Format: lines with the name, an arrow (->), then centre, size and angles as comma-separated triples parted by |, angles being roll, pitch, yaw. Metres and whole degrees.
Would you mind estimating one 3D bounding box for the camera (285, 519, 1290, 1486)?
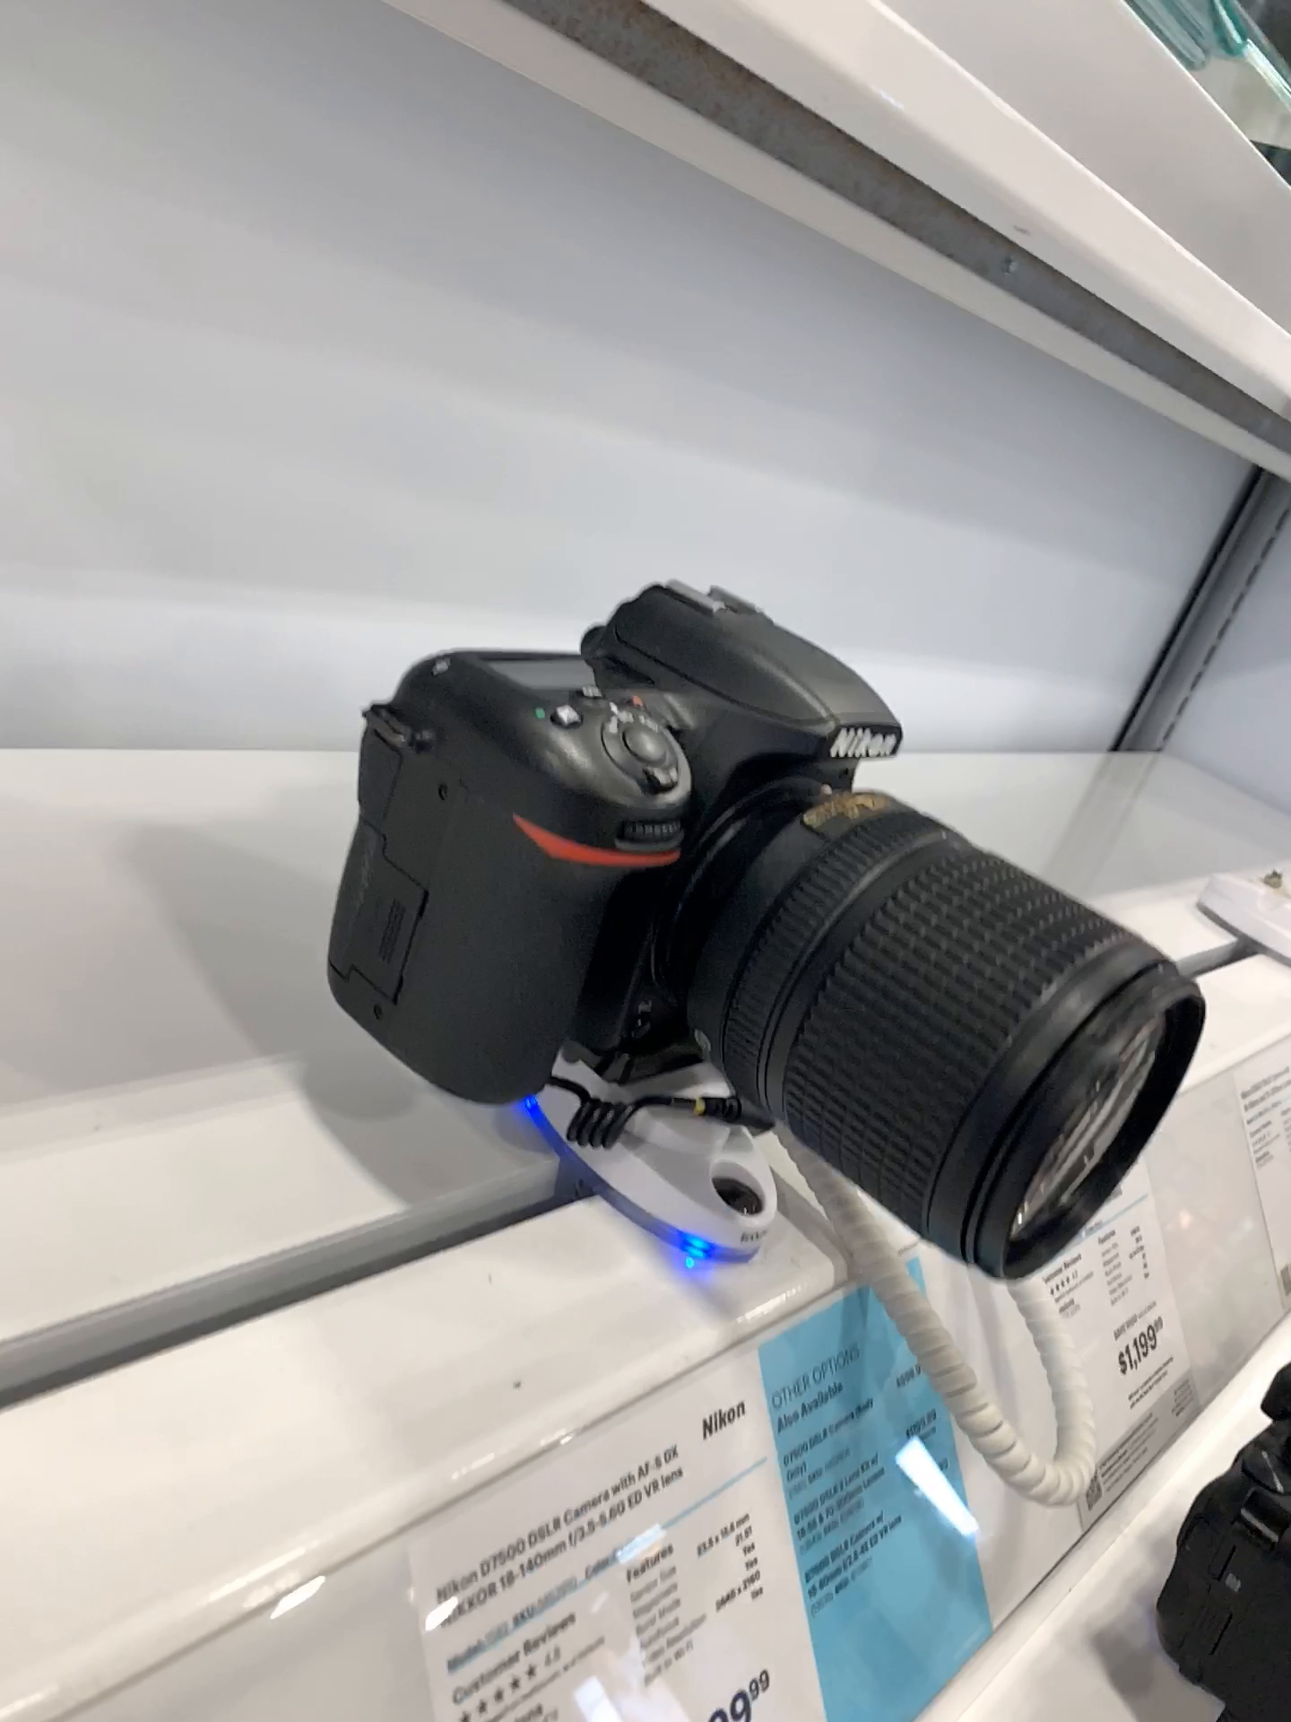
camera -> 0.036, 0.008, 0.291 | 0.172, 0.107, 0.131 | 29, 23, 33
